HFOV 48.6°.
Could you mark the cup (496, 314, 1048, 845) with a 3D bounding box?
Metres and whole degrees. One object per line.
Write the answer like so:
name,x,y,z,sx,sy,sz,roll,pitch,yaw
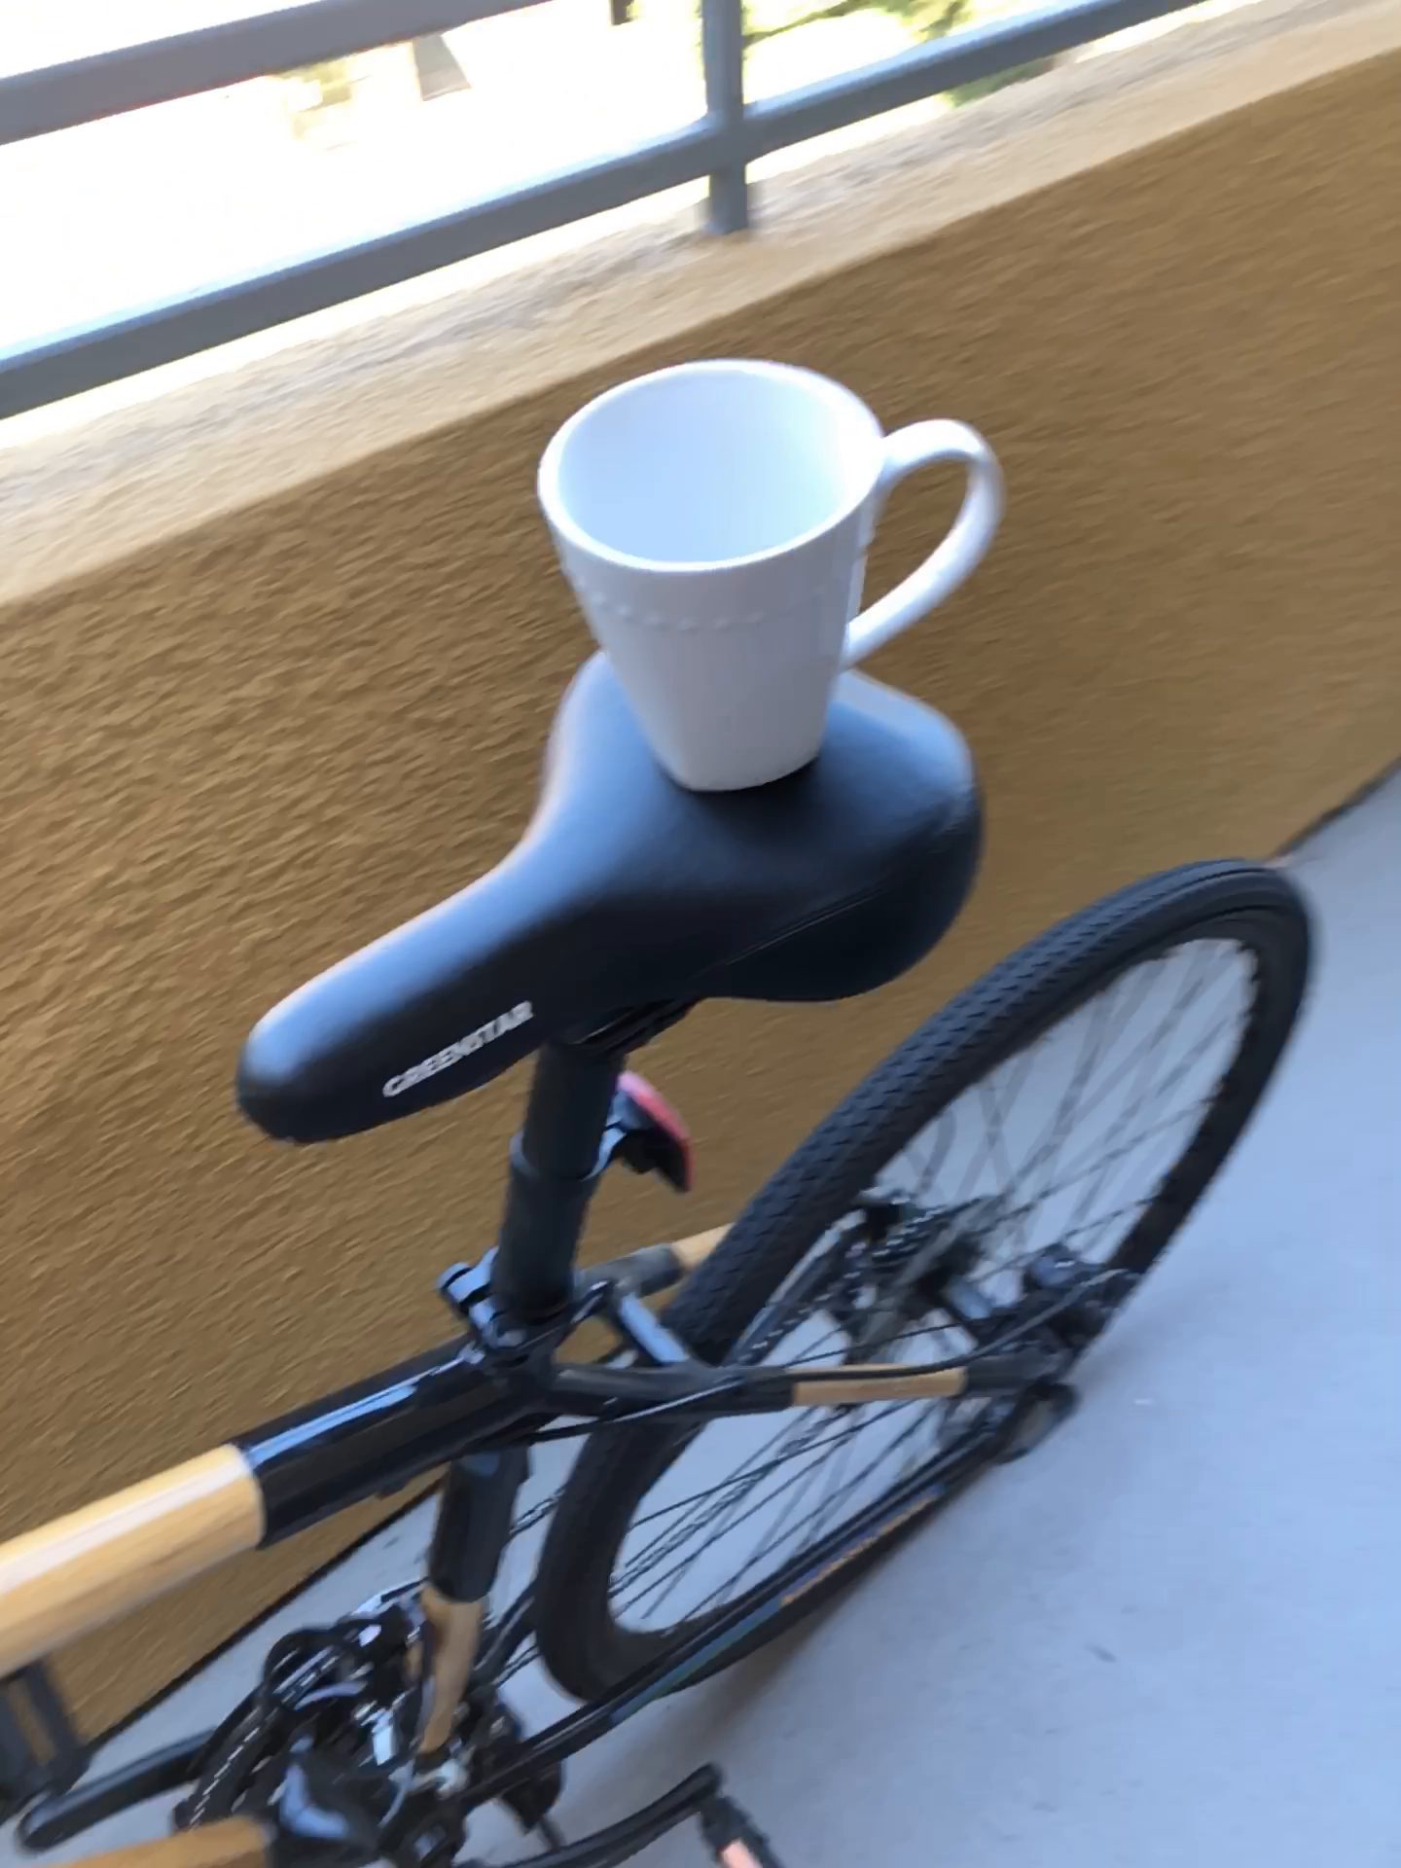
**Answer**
cup,0.019,-0.110,0.474,0.130,0.100,0.090,-18,47,-15
